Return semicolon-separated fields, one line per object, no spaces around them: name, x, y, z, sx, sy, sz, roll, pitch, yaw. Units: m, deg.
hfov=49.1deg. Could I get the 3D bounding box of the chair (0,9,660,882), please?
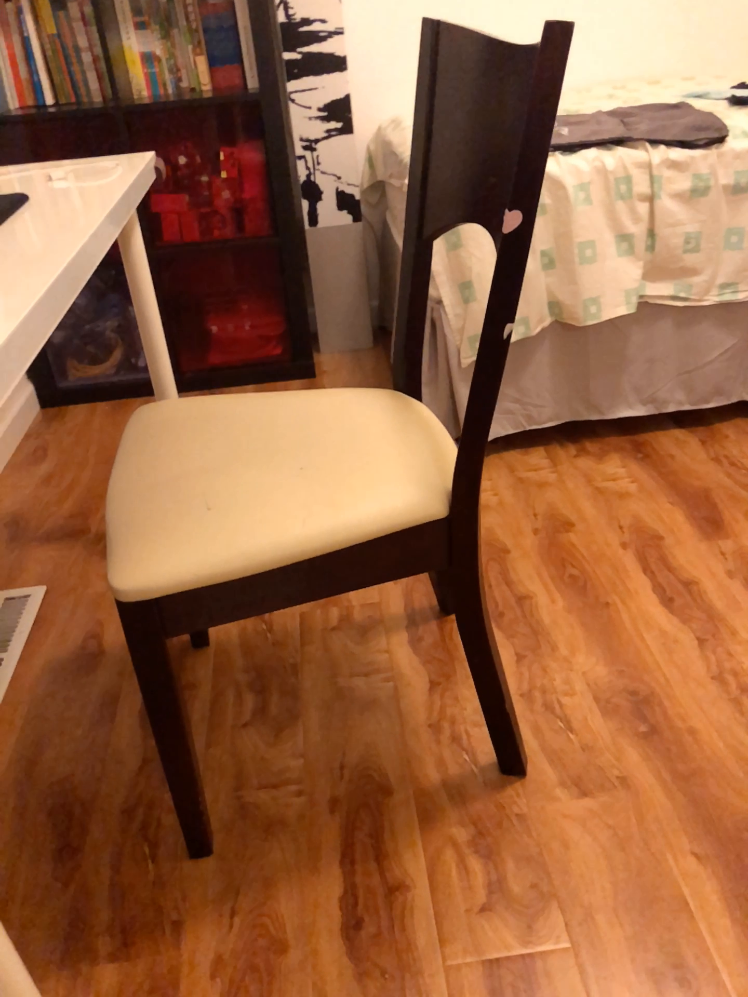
chair;-0.071;-0.088;1.004;0.510;0.845;0.533;-8;30;-9
